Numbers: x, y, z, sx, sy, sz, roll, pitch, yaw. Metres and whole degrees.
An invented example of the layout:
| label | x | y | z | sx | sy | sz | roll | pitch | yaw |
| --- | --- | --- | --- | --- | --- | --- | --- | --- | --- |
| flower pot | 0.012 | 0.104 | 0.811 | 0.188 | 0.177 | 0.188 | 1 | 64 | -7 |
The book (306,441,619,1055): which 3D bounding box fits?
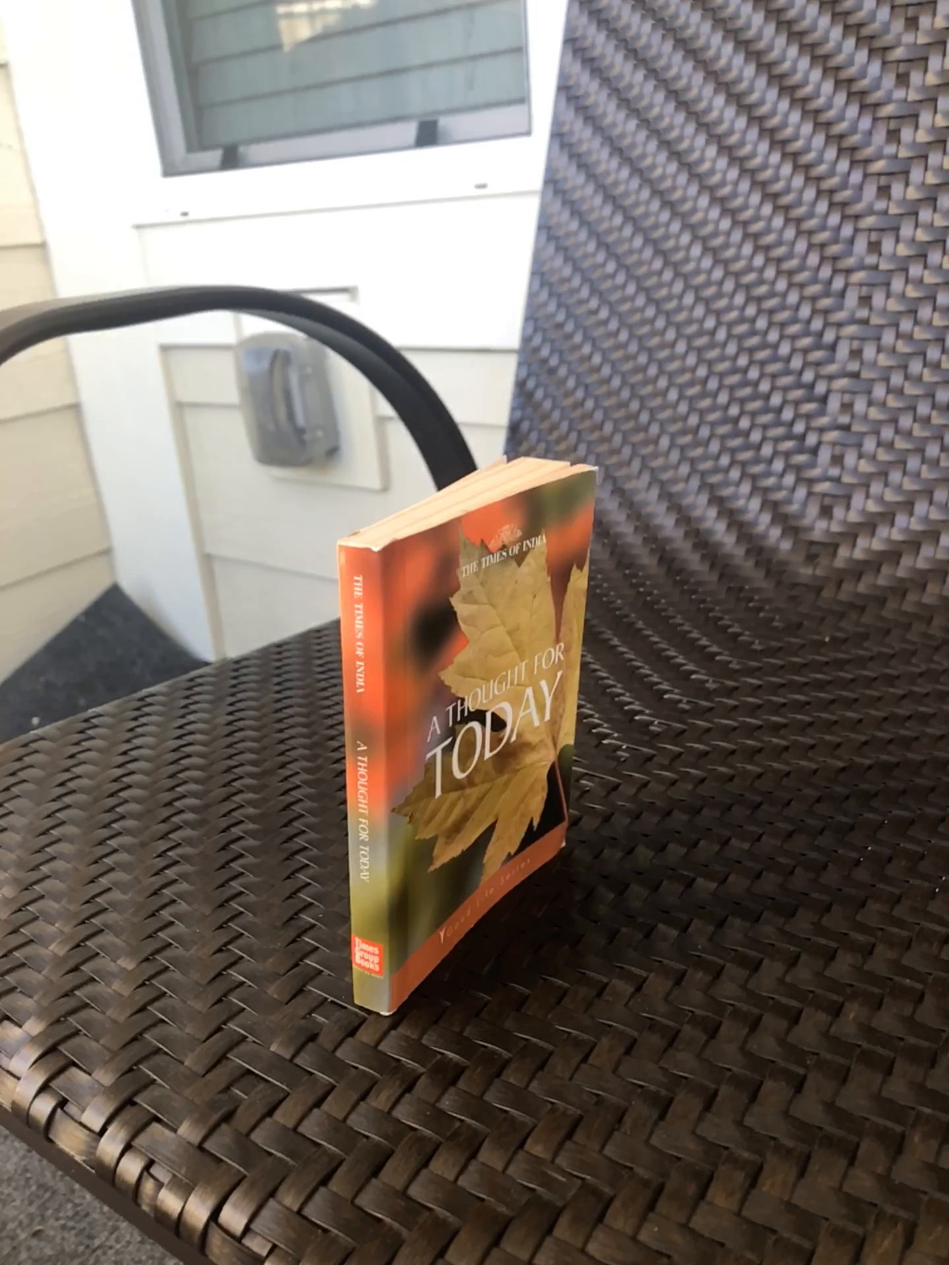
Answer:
| label | x | y | z | sx | sy | sz | roll | pitch | yaw |
| --- | --- | --- | --- | --- | --- | --- | --- | --- | --- |
| book | 0.004 | 0.025 | 0.288 | 0.031 | 0.128 | 0.106 | 10 | 26 | 26 |
